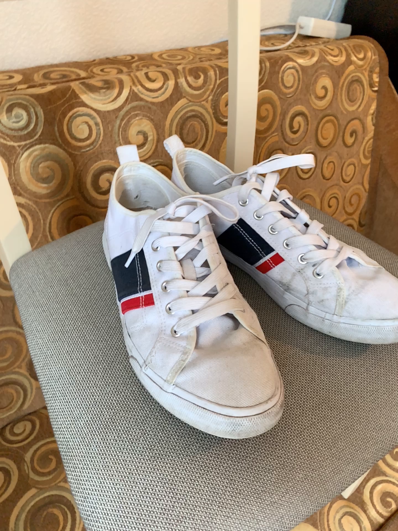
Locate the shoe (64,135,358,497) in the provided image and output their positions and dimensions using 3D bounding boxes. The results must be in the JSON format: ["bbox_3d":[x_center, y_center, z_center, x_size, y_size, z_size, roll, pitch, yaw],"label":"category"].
[{"bbox_3d":[-0.020,0.008,0.338,0.120,0.090,0.281,-13,48,-19],"label":"shoe"}]

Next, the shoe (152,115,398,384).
[{"bbox_3d":[0.090,-0.034,0.384,0.271,0.090,0.110,35,51,25],"label":"shoe"}]
